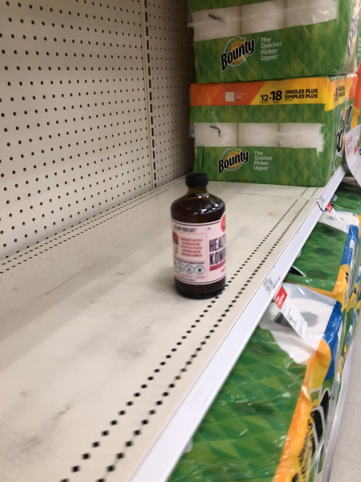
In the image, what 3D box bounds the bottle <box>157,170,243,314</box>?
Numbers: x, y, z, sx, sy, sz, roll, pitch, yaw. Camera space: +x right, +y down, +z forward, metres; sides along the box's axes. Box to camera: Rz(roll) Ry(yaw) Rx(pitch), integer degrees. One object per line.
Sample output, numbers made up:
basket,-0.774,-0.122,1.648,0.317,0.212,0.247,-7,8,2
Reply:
bottle,0.030,-0.003,0.551,0.089,0.169,0.087,-1,22,0
